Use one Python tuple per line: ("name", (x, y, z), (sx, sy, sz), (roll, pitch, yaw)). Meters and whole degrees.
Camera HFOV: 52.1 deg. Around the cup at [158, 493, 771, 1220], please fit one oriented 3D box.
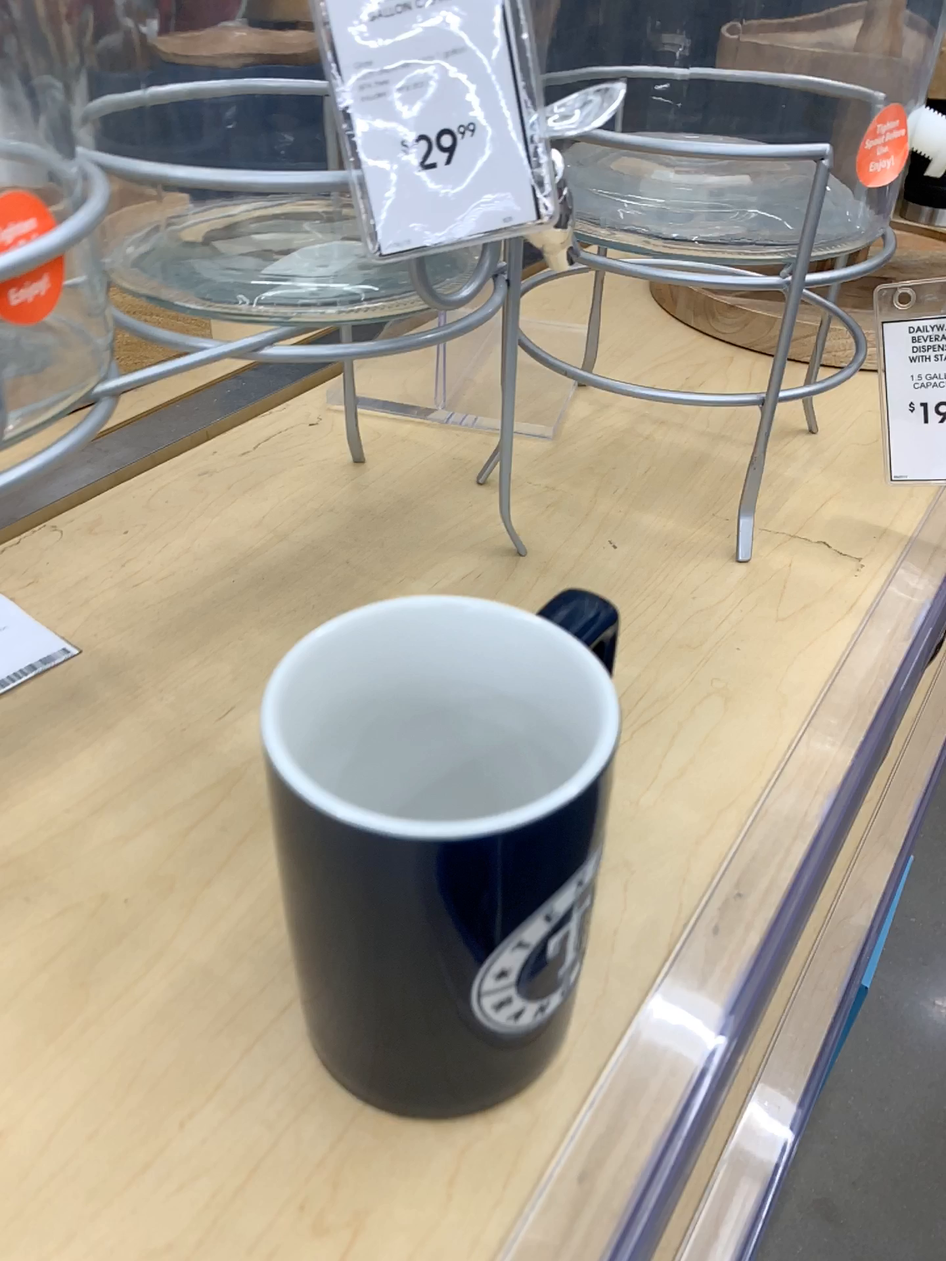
("cup", (0.003, 0.054, 0.271), (0.097, 0.121, 0.124), (22, 42, 24))
